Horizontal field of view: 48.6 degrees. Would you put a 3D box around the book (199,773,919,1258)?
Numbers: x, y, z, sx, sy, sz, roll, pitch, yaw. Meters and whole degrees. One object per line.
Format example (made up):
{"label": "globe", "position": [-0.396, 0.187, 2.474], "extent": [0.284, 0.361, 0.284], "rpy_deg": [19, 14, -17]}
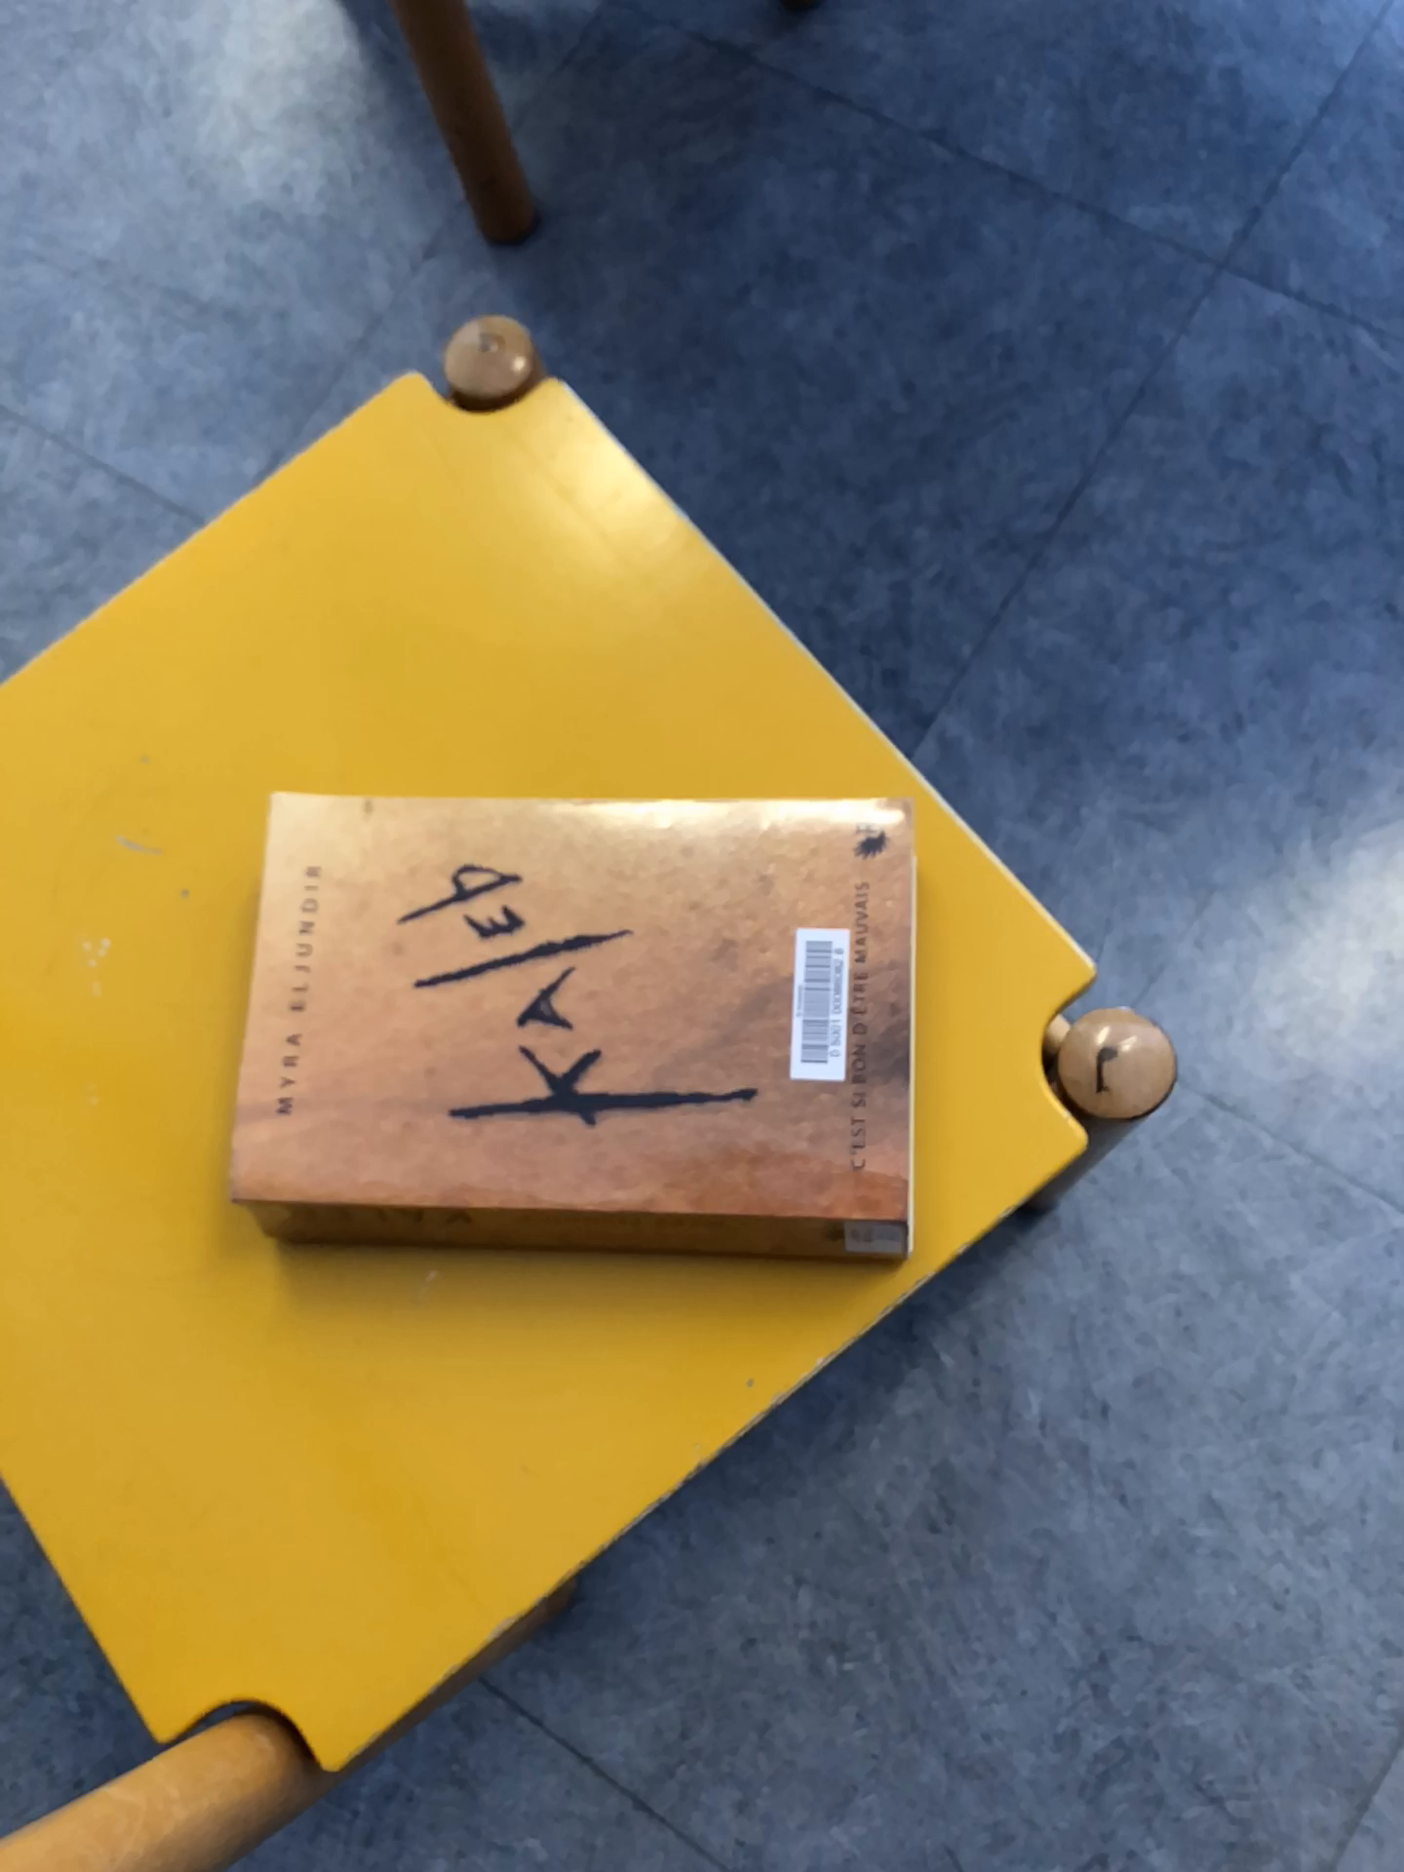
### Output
{"label": "book", "position": [-0.042, 0.025, 0.513], "extent": [0.223, 0.043, 0.149], "rpy_deg": [0, 76, 8]}
